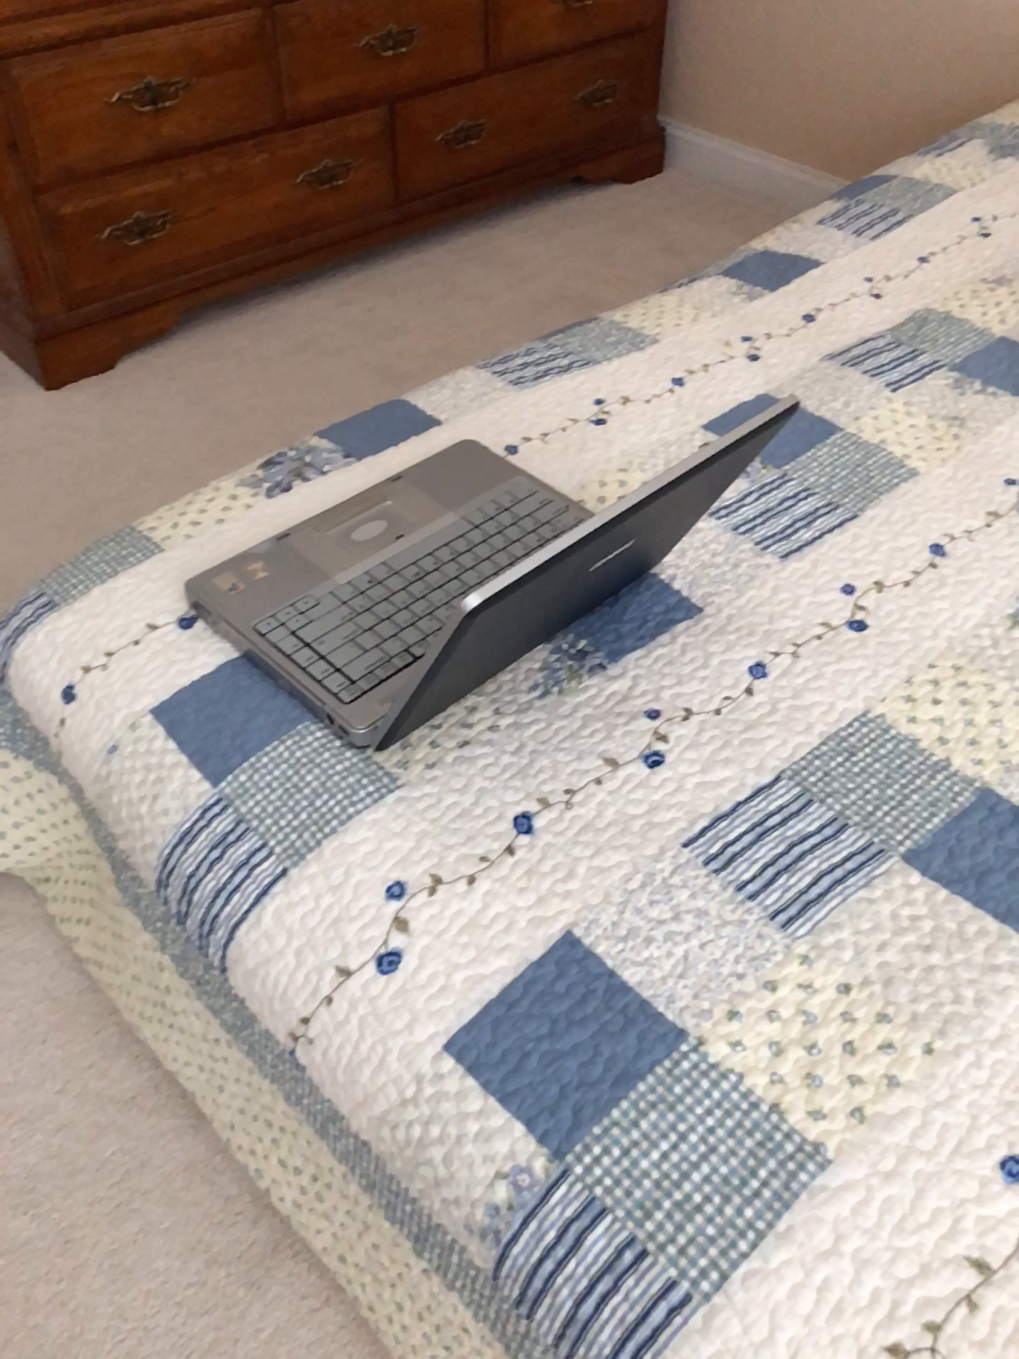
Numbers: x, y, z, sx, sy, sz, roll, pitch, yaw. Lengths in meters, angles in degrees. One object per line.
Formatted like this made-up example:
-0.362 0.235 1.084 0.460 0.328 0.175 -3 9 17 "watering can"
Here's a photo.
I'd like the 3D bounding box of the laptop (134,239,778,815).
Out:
-0.037 -0.142 0.866 0.327 0.193 0.323 37 53 28 "laptop"
